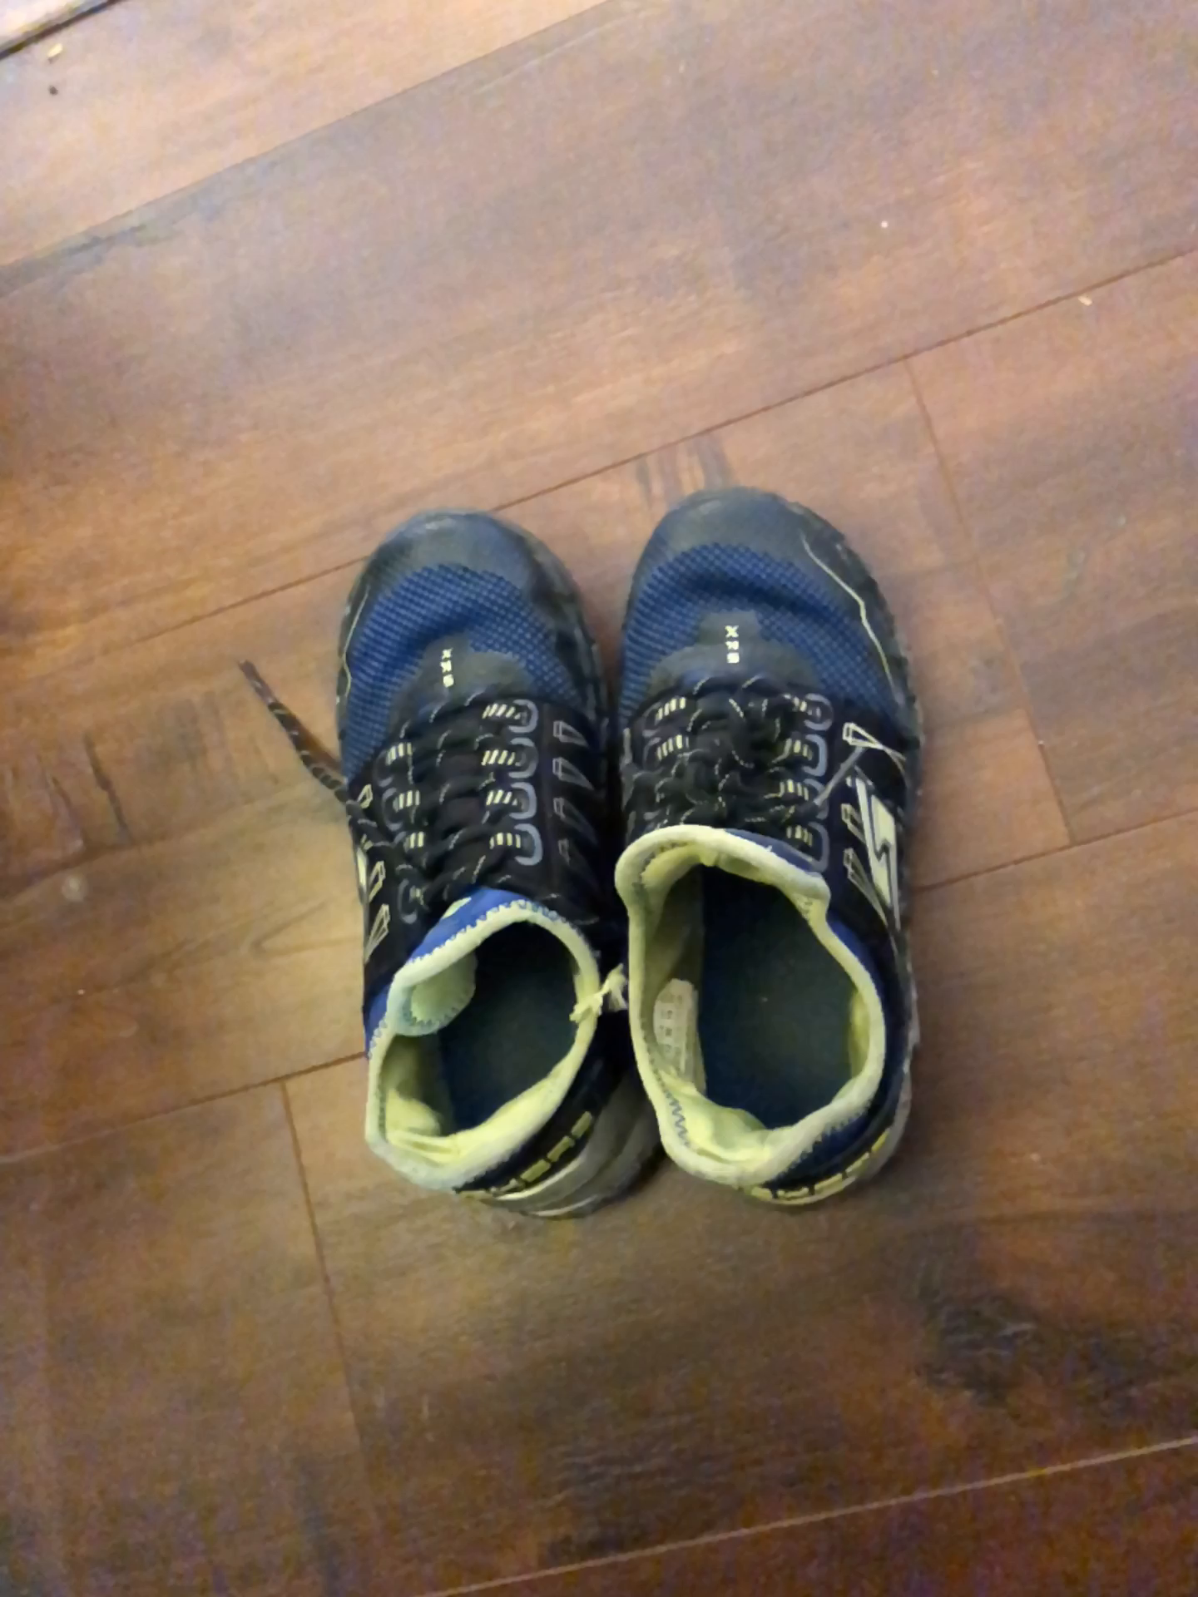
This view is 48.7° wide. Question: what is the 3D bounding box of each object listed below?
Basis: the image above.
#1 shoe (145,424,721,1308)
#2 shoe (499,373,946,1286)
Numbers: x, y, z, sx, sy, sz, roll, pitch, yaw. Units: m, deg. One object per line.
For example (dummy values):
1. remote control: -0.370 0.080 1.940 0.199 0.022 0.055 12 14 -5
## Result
1. shoe: -0.044 0.022 0.396 0.100 0.120 0.210 -14 79 13
2. shoe: 0.040 0.012 0.372 0.100 0.120 0.210 -3 82 14
